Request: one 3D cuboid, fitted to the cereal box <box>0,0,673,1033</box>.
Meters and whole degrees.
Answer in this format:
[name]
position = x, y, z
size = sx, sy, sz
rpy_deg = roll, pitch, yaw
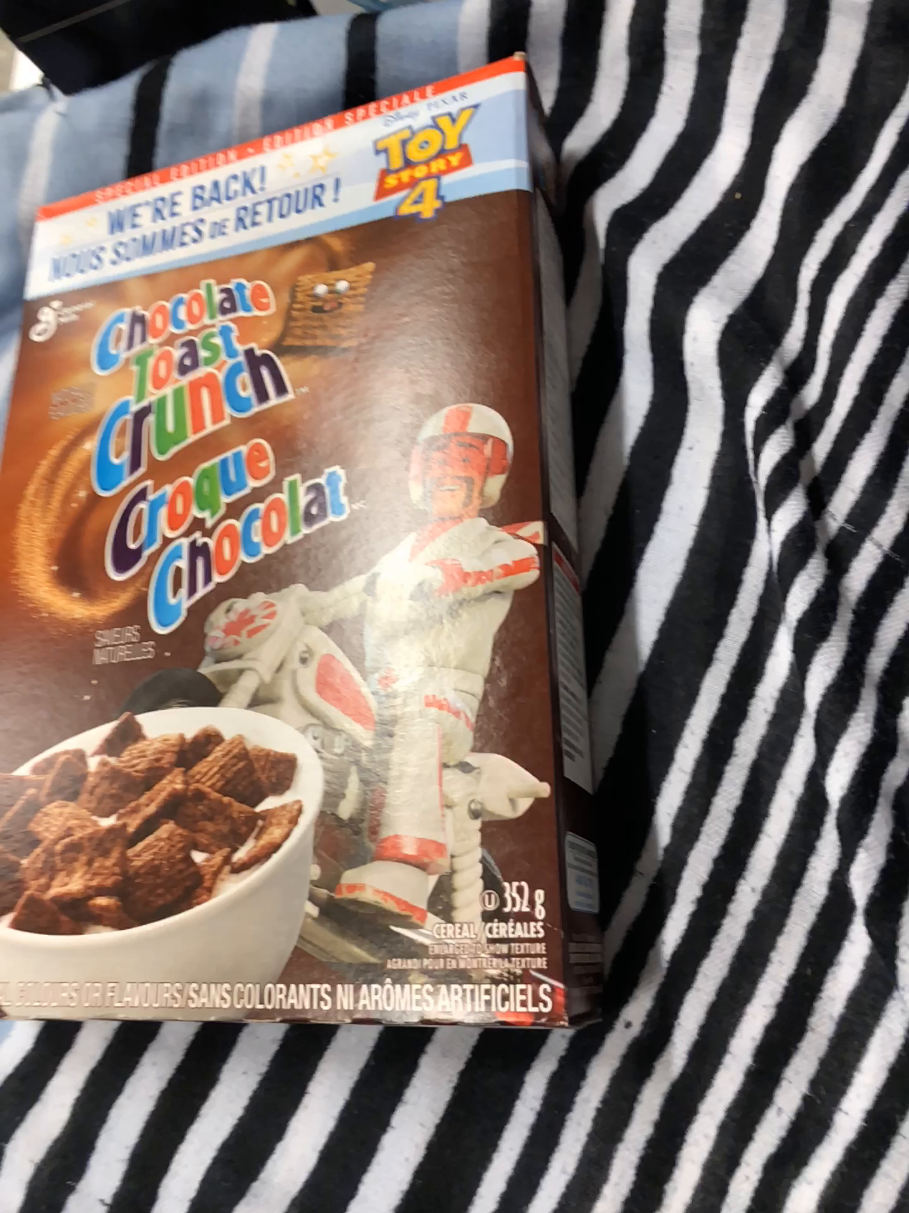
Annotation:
[cereal box]
position = -0.056, -0.029, 0.326
size = 0.210, 0.060, 0.300
rpy_deg = -9, 71, 19
